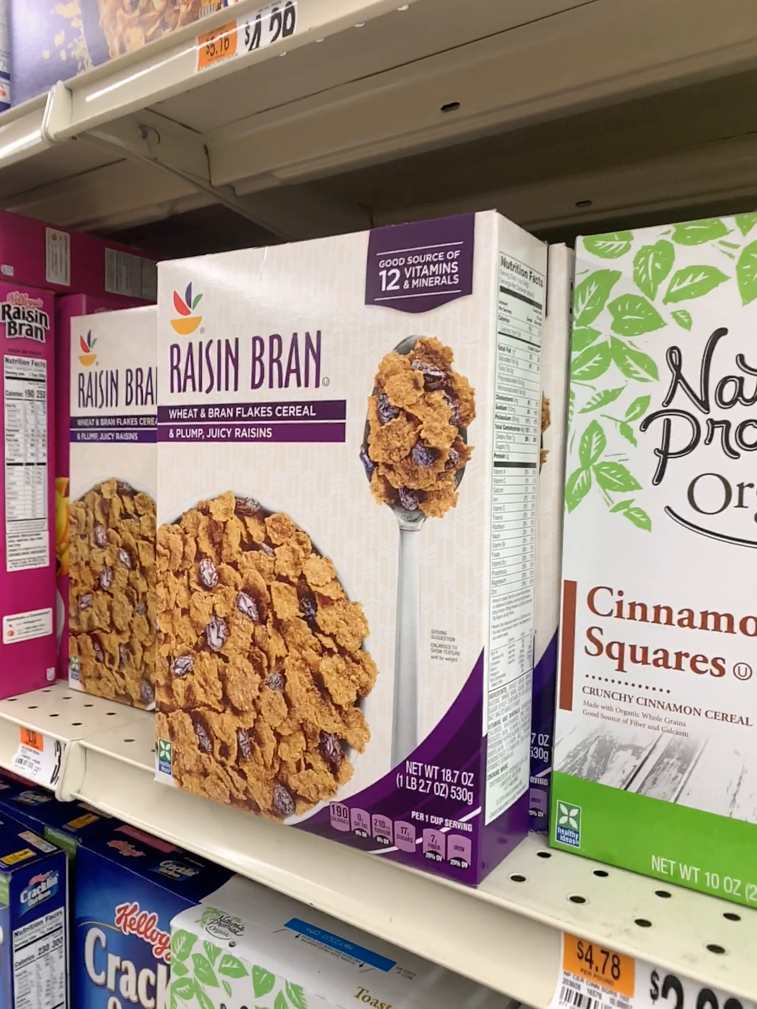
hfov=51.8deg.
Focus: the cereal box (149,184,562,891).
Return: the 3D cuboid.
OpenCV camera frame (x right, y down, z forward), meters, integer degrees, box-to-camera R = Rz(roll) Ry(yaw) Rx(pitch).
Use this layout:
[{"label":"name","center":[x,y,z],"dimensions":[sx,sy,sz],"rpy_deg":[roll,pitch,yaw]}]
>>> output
[{"label":"cereal box","center":[-0.018,0.010,0.377],"dimensions":[0.190,0.270,0.070],"rpy_deg":[3,4,33]}]
